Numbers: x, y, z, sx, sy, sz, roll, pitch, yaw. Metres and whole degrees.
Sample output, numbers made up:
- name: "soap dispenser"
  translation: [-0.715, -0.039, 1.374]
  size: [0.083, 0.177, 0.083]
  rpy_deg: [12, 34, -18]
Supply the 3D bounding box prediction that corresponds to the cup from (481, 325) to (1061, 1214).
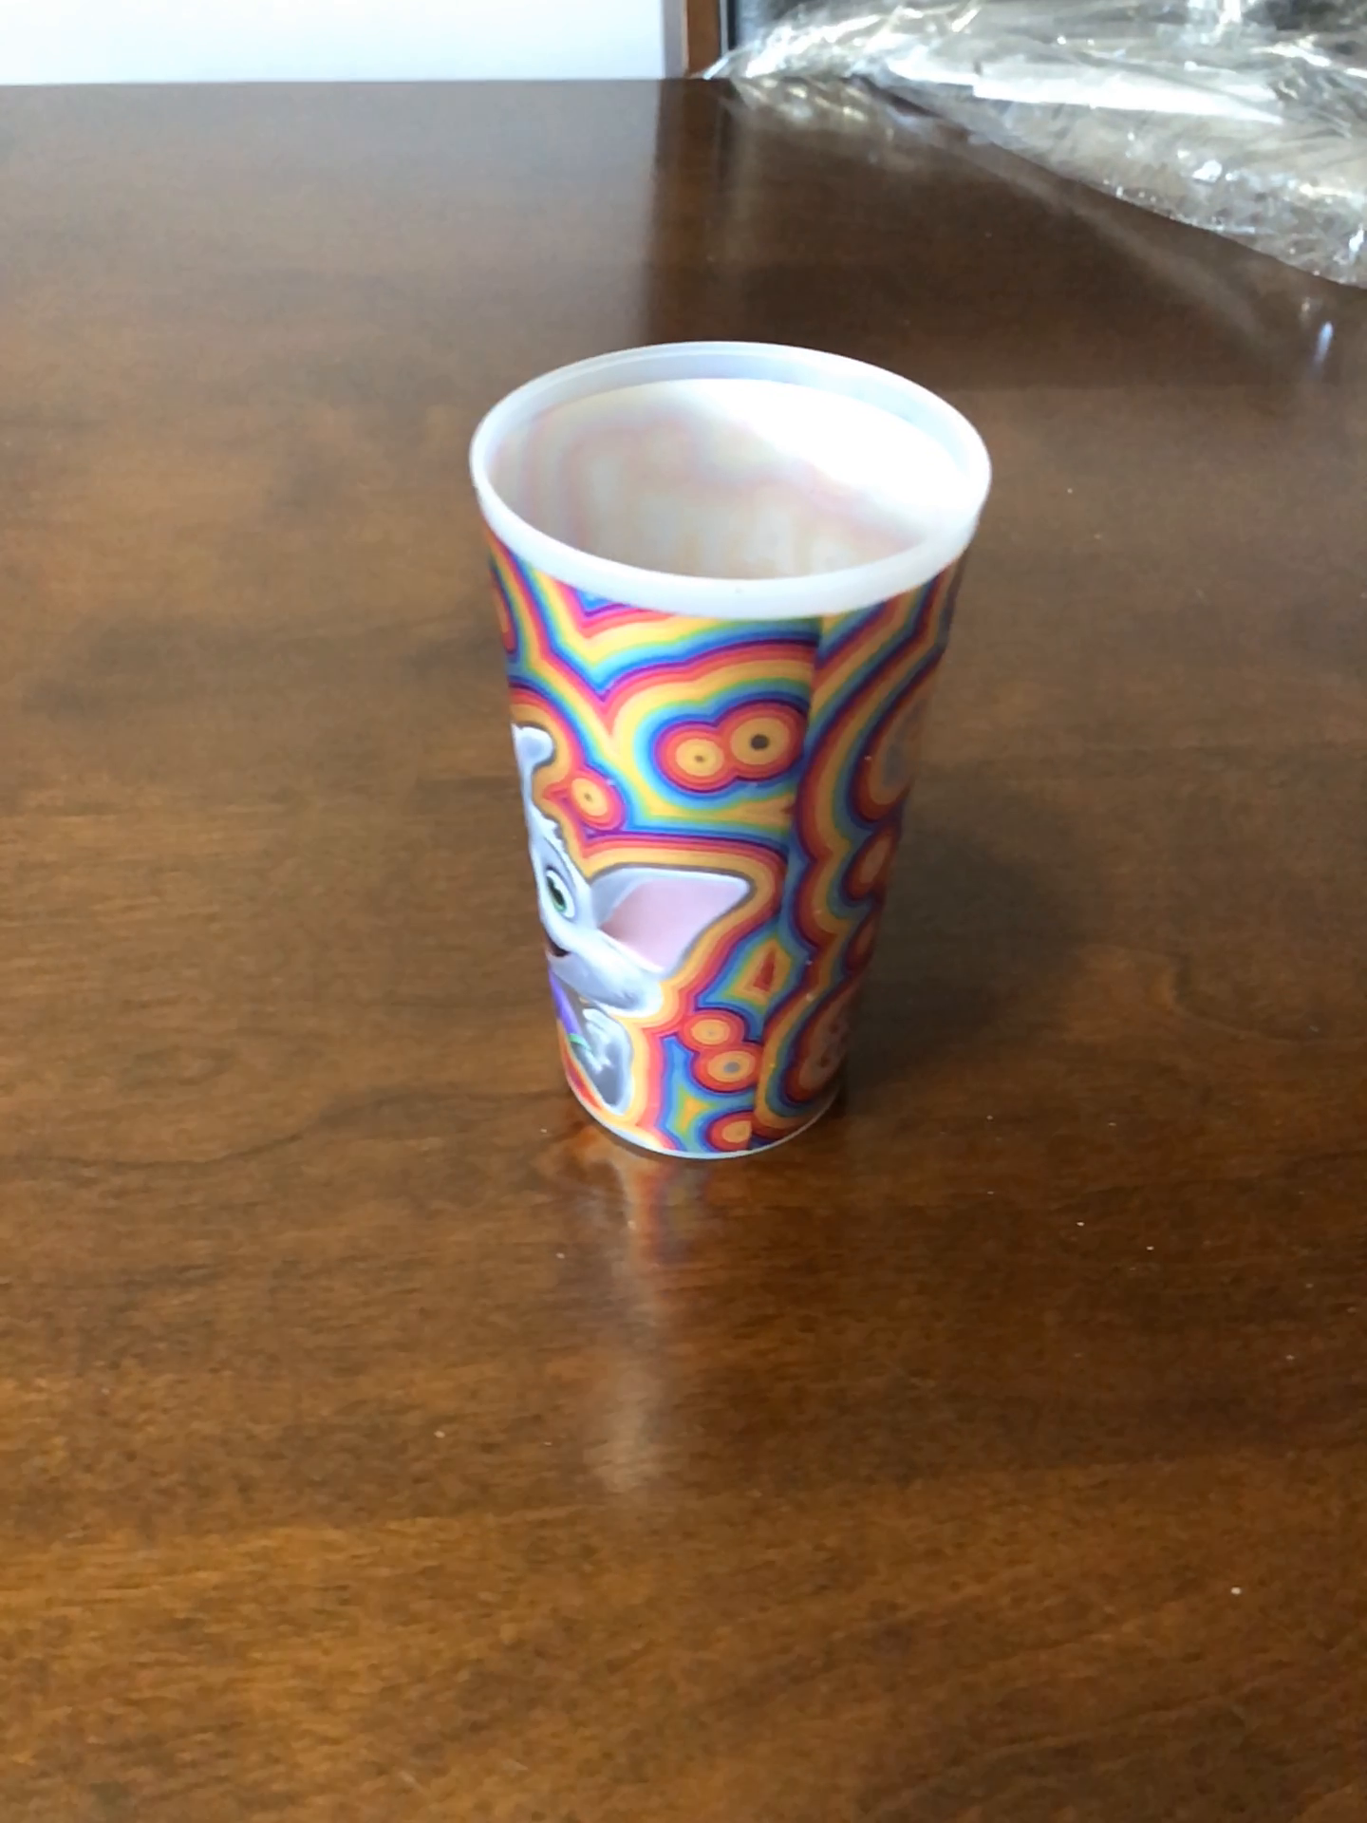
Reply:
- name: "cup"
  translation: [0.007, -0.020, 0.258]
  size: [0.070, 0.130, 0.070]
  rpy_deg: [1, 43, -1]
